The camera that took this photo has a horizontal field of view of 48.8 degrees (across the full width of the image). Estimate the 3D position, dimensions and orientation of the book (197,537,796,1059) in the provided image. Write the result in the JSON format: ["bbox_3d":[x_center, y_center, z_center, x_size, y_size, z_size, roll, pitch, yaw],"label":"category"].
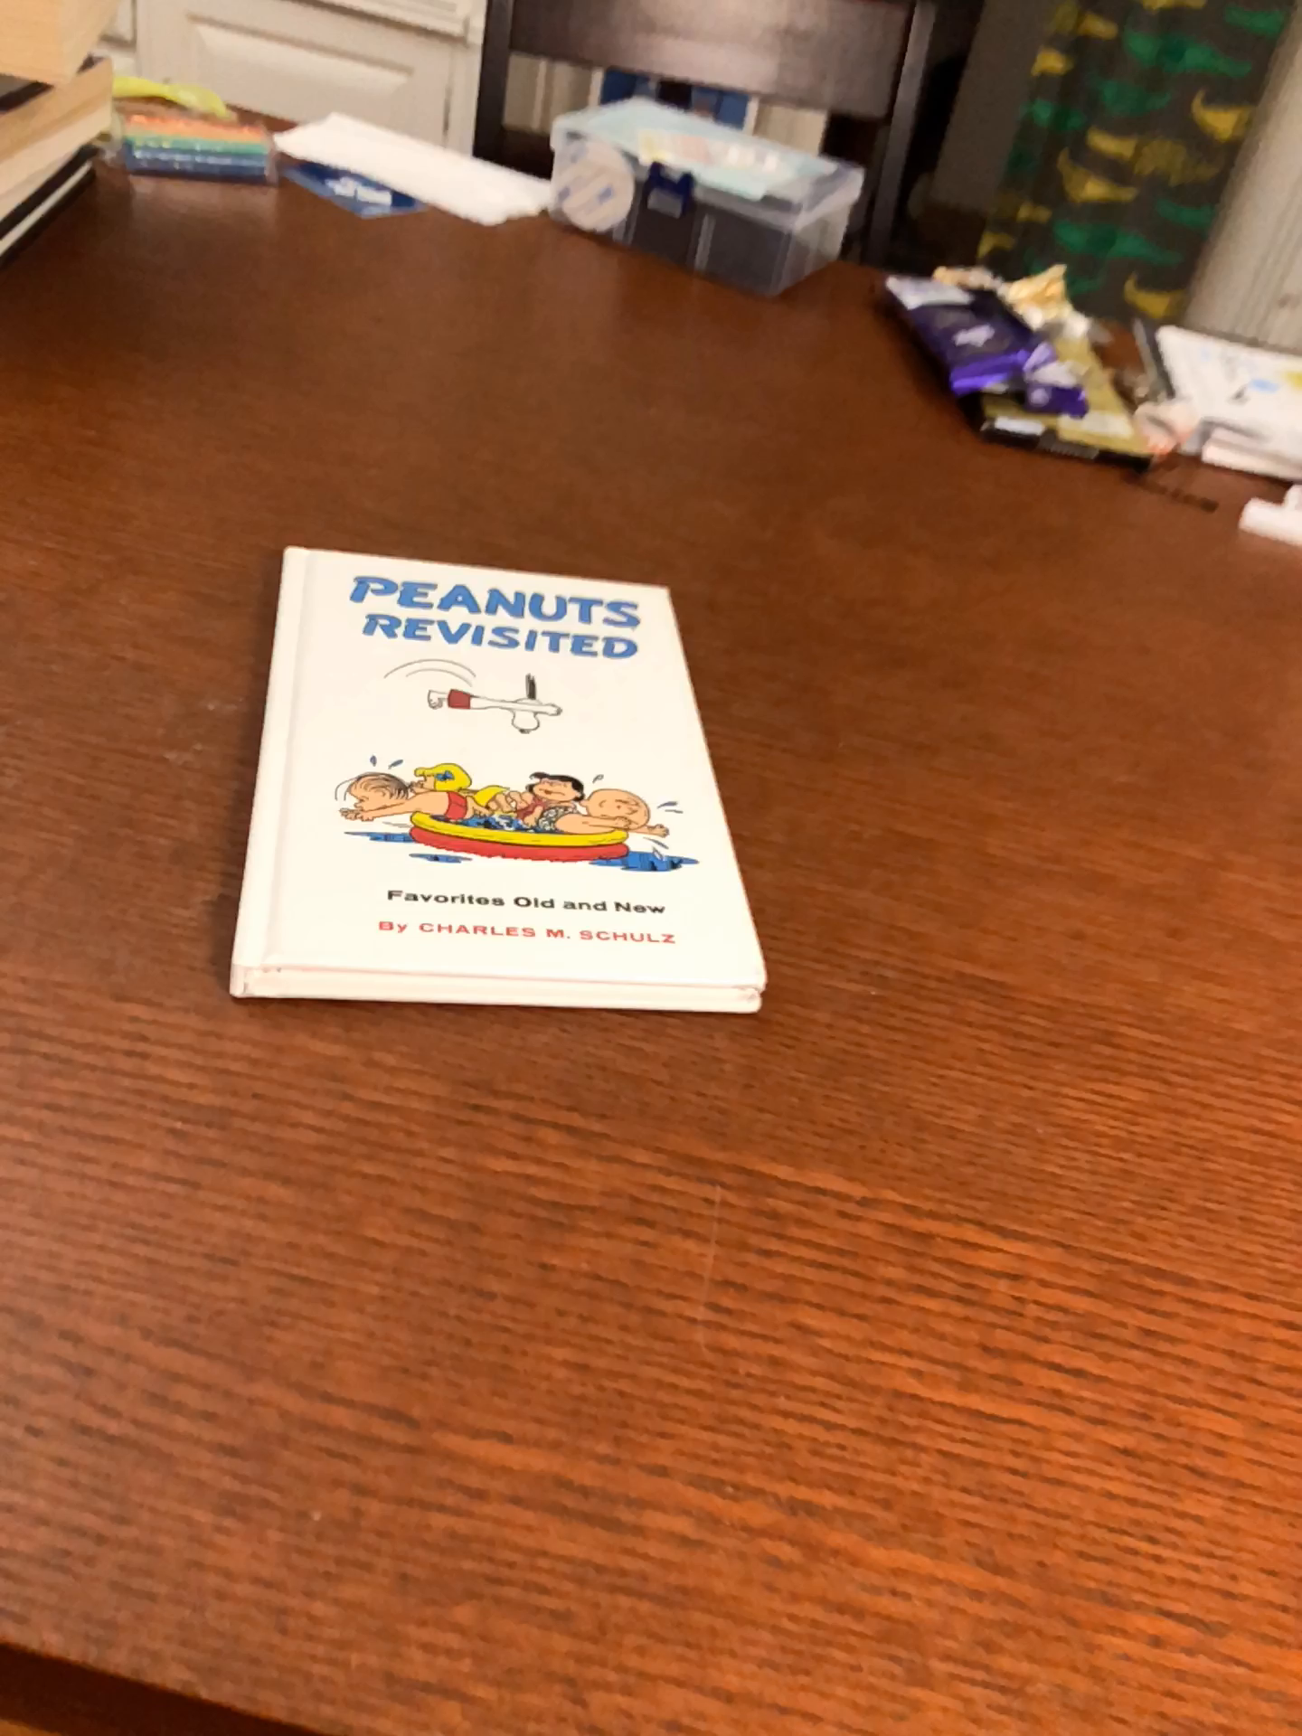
[{"bbox_3d":[-0.051,-0.033,0.448,0.150,0.020,0.221,4,40,-13],"label":"book"}]
